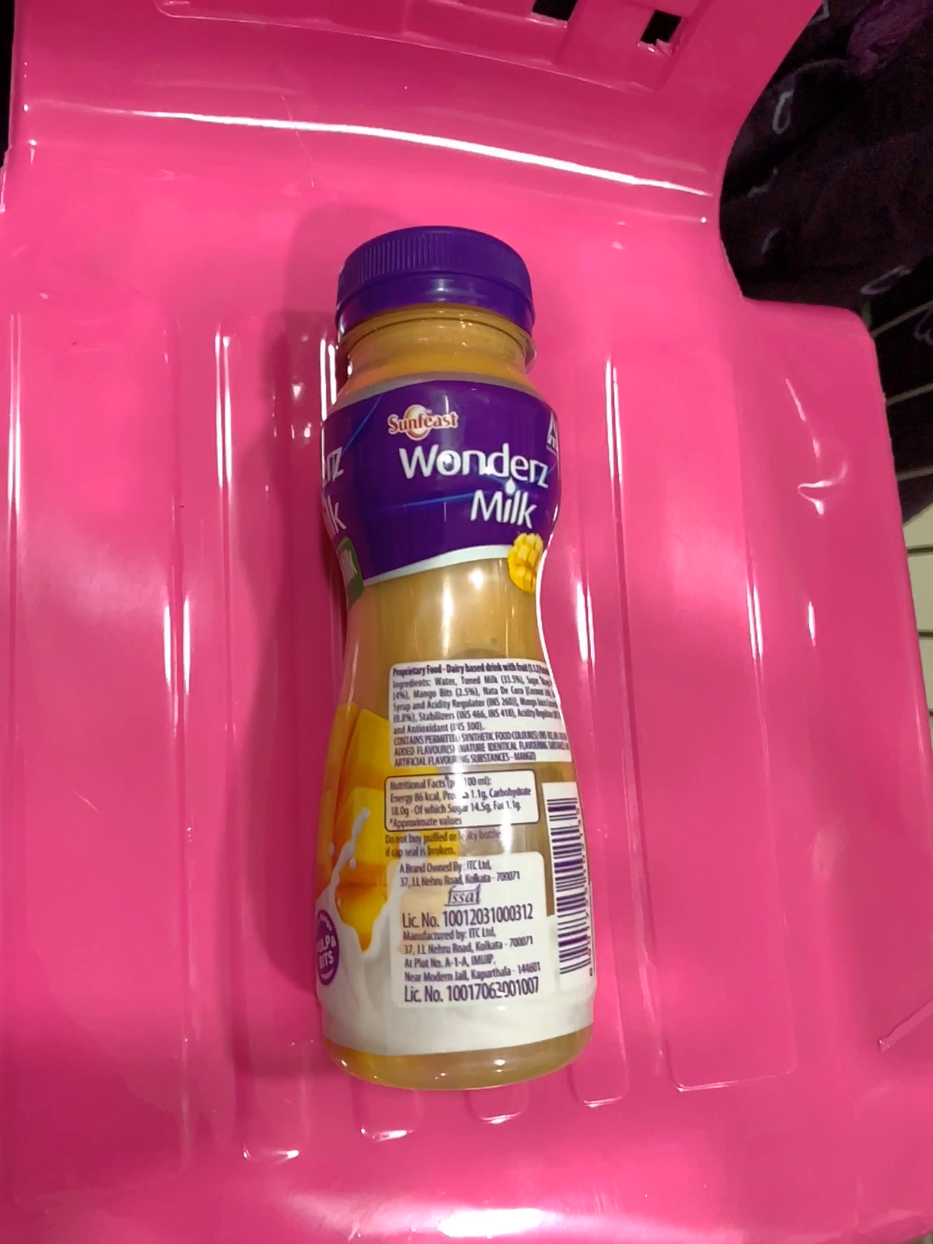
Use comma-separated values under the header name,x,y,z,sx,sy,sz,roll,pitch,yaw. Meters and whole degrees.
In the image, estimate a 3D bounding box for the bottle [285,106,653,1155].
name,x,y,z,sx,sy,sz,roll,pitch,yaw
bottle,-0.004,0.000,0.179,0.050,0.050,0.160,0,85,-17
